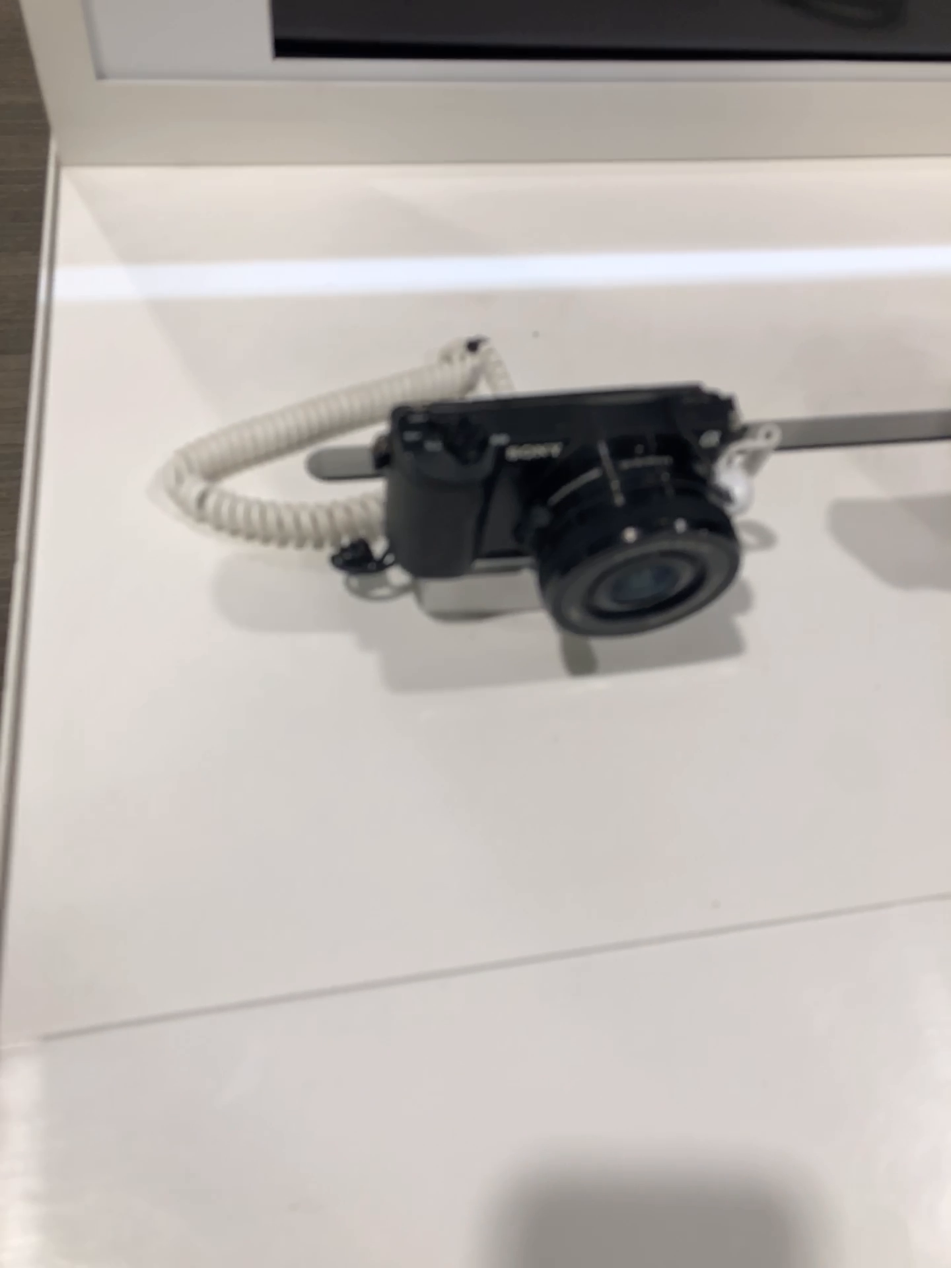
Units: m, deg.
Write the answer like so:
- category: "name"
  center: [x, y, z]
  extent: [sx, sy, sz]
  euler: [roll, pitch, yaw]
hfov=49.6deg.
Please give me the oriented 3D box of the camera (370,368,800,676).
- category: "camera"
  center: [0.027, -0.035, 0.319]
  extent: [0.113, 0.060, 0.062]
  euler: [-6, 57, -9]
